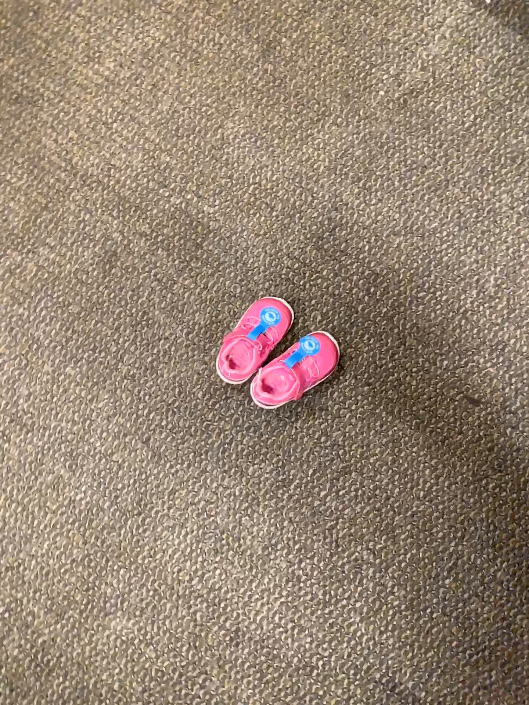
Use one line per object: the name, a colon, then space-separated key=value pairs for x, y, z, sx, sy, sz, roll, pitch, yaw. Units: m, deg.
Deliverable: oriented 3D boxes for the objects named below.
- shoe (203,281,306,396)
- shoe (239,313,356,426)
shoe: x=-0.013 y=-0.018 z=0.745 sx=0.070 sy=0.040 sz=0.140 roll=36 pitch=87 yaw=6
shoe: x=0.044 y=0.023 z=0.717 sx=0.140 sy=0.040 sz=0.070 roll=-42 pitch=83 yaw=-1
